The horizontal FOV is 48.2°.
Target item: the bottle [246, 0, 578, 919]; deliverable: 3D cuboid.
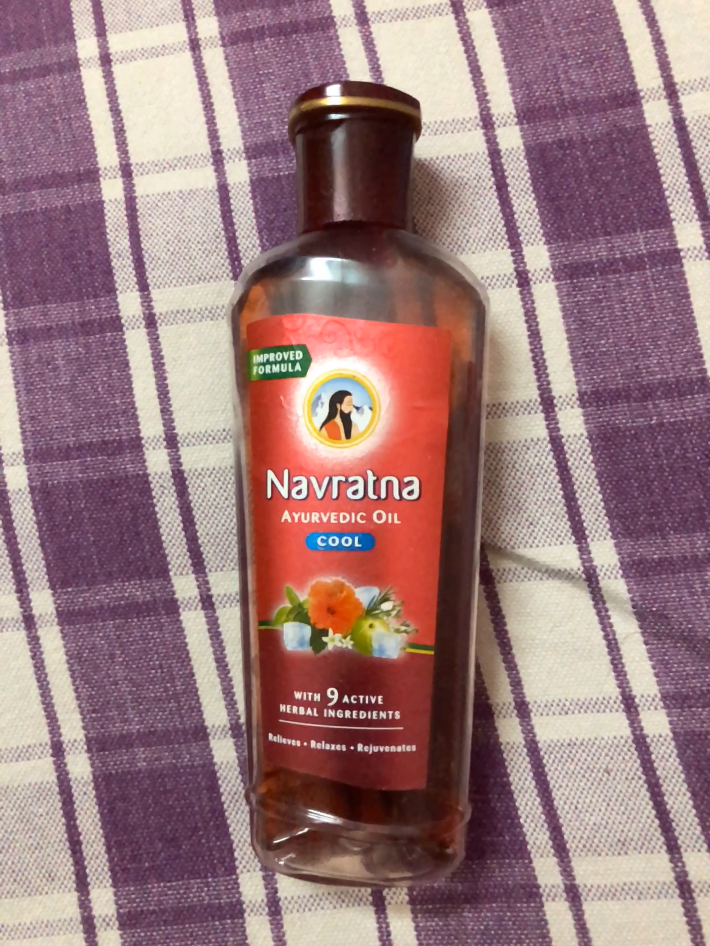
[{"bbox_3d":[0.015,-0.007,0.199,0.070,0.050,0.200,-1,85,9],"label":"bottle"}]
